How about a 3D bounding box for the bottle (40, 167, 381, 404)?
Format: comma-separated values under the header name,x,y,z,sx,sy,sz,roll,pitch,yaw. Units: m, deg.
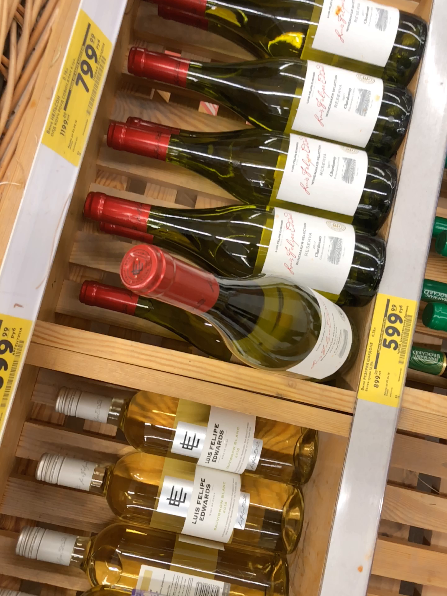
name,x,y,z,sx,sy,sz,roll,pitch,yaw
bottle,0.020,0.010,0.395,0.100,0.289,0.100,-12,68,33
